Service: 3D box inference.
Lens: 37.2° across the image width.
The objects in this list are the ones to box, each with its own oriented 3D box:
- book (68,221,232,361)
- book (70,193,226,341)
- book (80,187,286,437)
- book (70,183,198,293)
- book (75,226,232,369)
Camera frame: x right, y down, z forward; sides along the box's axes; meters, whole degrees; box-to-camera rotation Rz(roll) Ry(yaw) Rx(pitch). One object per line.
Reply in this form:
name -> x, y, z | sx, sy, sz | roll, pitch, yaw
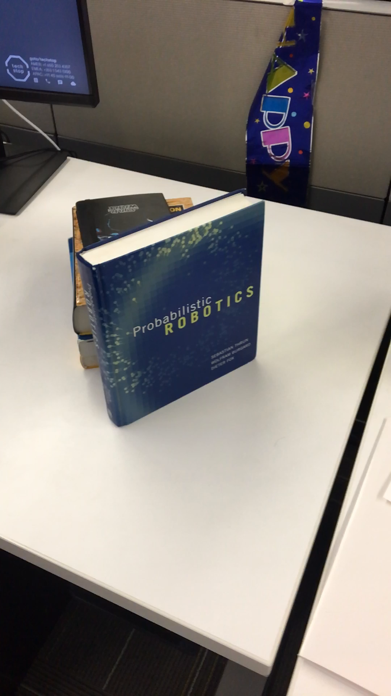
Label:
book -> -0.072, -0.090, 0.809 | 0.190, 0.030, 0.240 | -9, 44, -9
book -> -0.072, -0.119, 0.781 | 0.180, 0.050, 0.240 | -7, 44, -7
book -> -0.007, -0.035, 0.651 | 0.210, 0.230, 0.050 | -26, 49, -24
book -> -0.086, -0.151, 0.756 | 0.130, 0.020, 0.200 | -11, 45, -11
book -> -0.070, -0.084, 0.832 | 0.190, 0.030, 0.260 | -7, 44, -7
